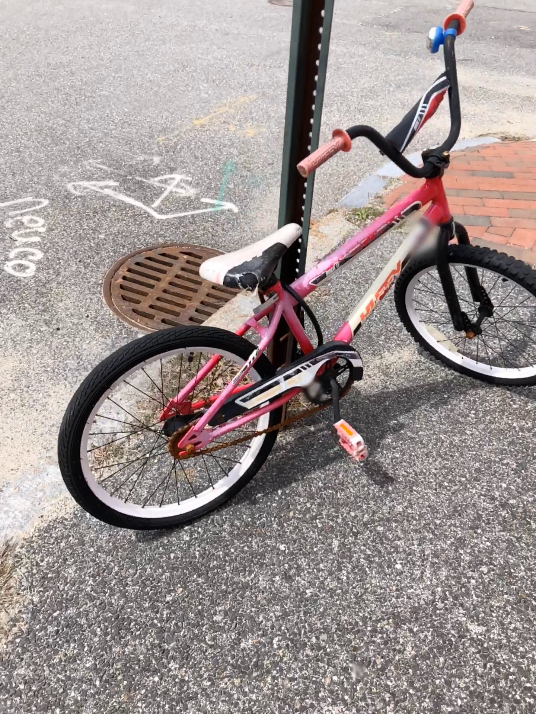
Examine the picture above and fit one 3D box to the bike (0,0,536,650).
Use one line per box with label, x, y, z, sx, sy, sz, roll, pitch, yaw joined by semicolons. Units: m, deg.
bike;0.166;-0.125;1.127;1.178;0.887;0.698;-15;45;-18
